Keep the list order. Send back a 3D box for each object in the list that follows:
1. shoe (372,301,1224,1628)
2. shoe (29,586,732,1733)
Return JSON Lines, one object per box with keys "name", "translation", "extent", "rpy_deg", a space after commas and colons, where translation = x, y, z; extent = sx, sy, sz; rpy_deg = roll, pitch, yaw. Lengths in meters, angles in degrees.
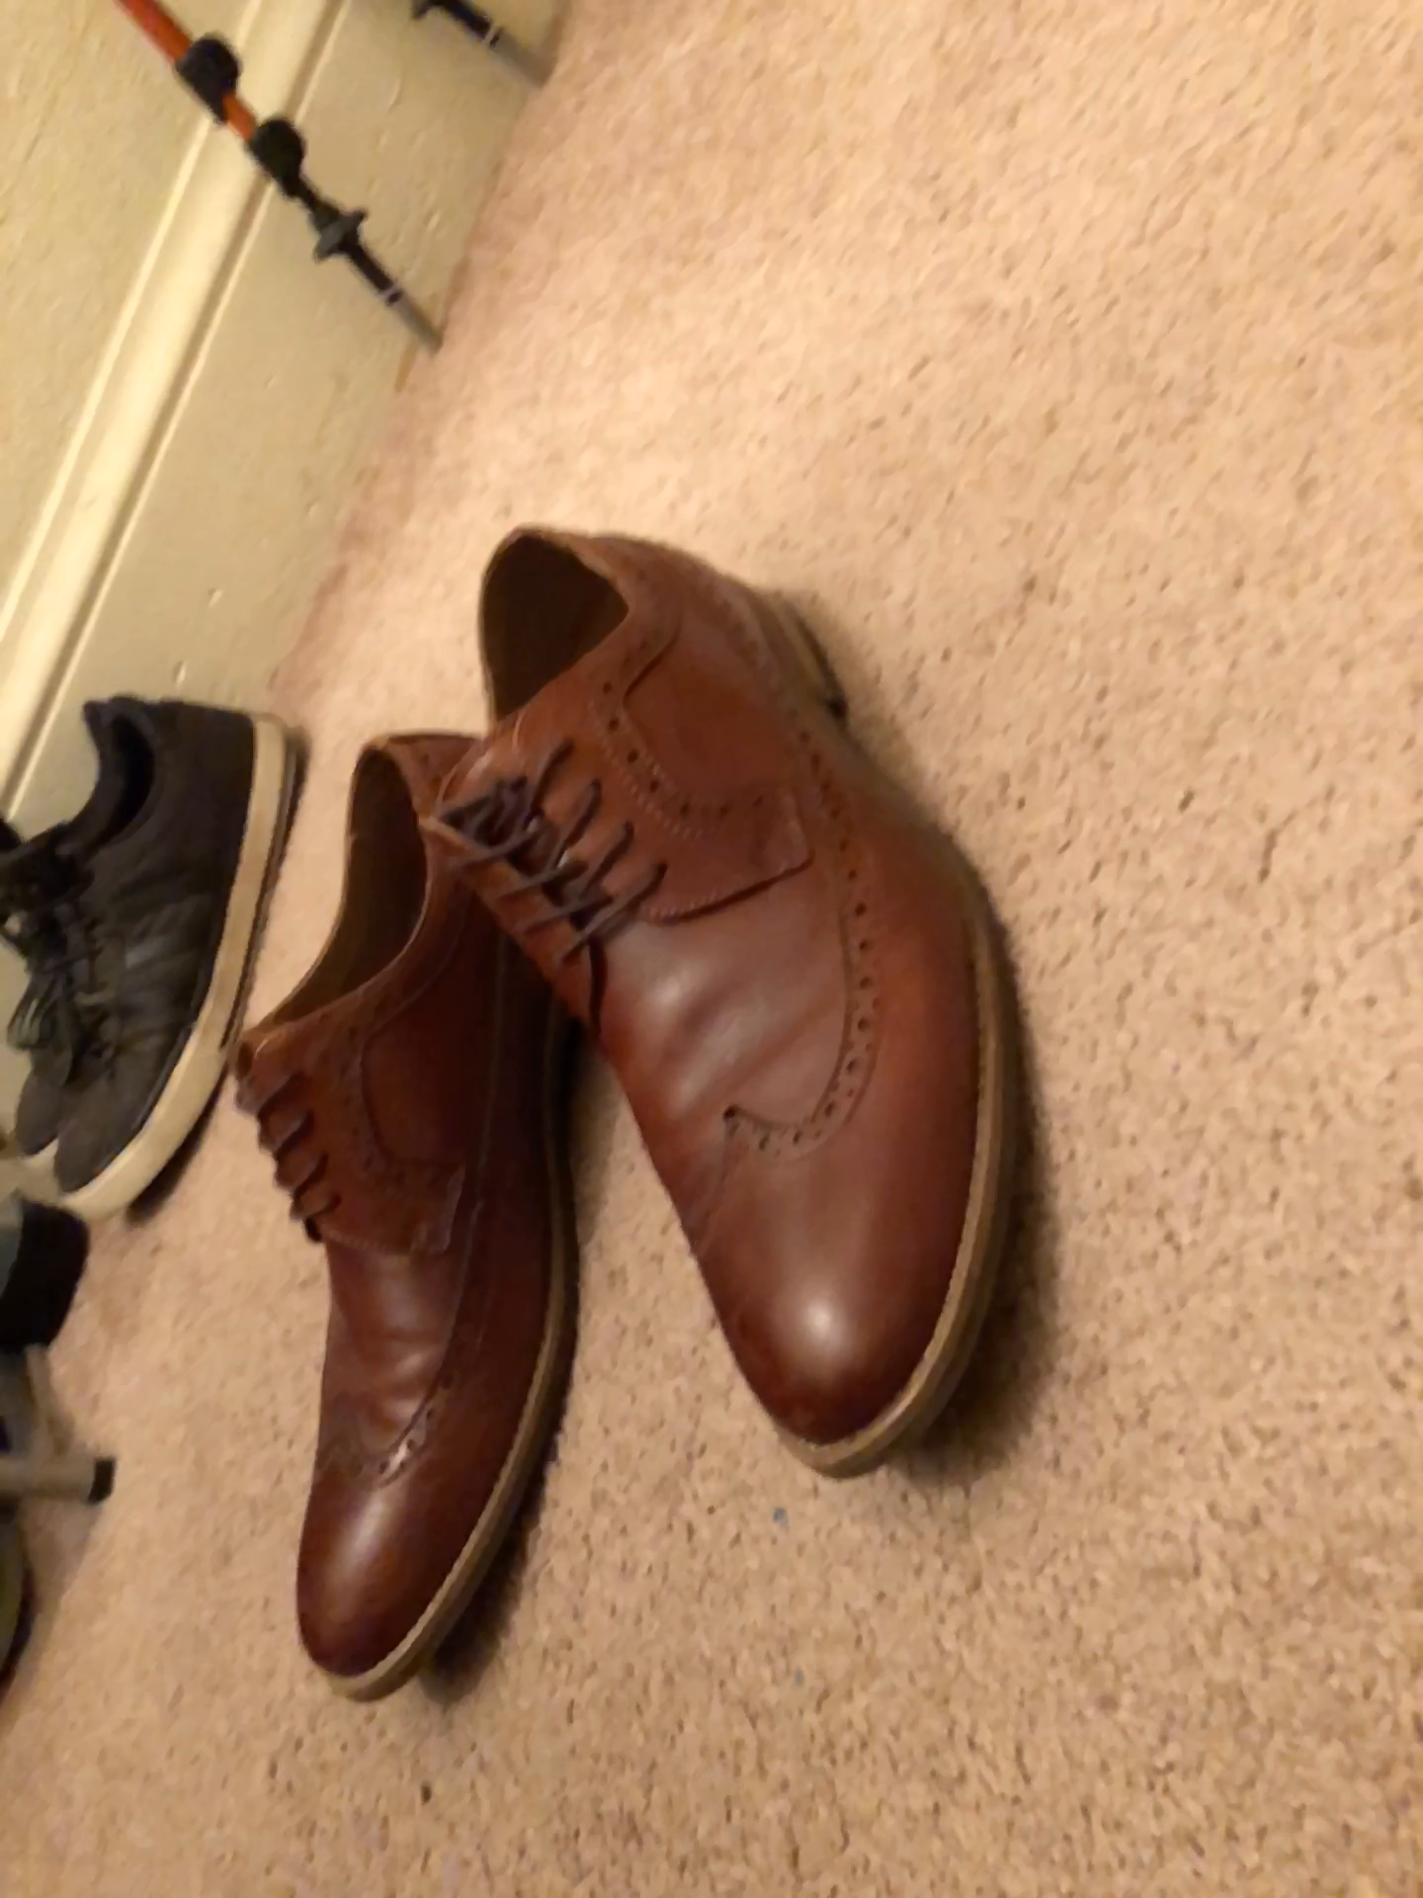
{"name": "shoe", "translation": [-0.005, -0.012, 0.399], "extent": [0.115, 0.115, 0.311], "rpy_deg": [-44, 40, 33]}
{"name": "shoe", "translation": [-0.098, 0.063, 0.499], "extent": [0.115, 0.115, 0.311], "rpy_deg": [-14, 61, 52]}
